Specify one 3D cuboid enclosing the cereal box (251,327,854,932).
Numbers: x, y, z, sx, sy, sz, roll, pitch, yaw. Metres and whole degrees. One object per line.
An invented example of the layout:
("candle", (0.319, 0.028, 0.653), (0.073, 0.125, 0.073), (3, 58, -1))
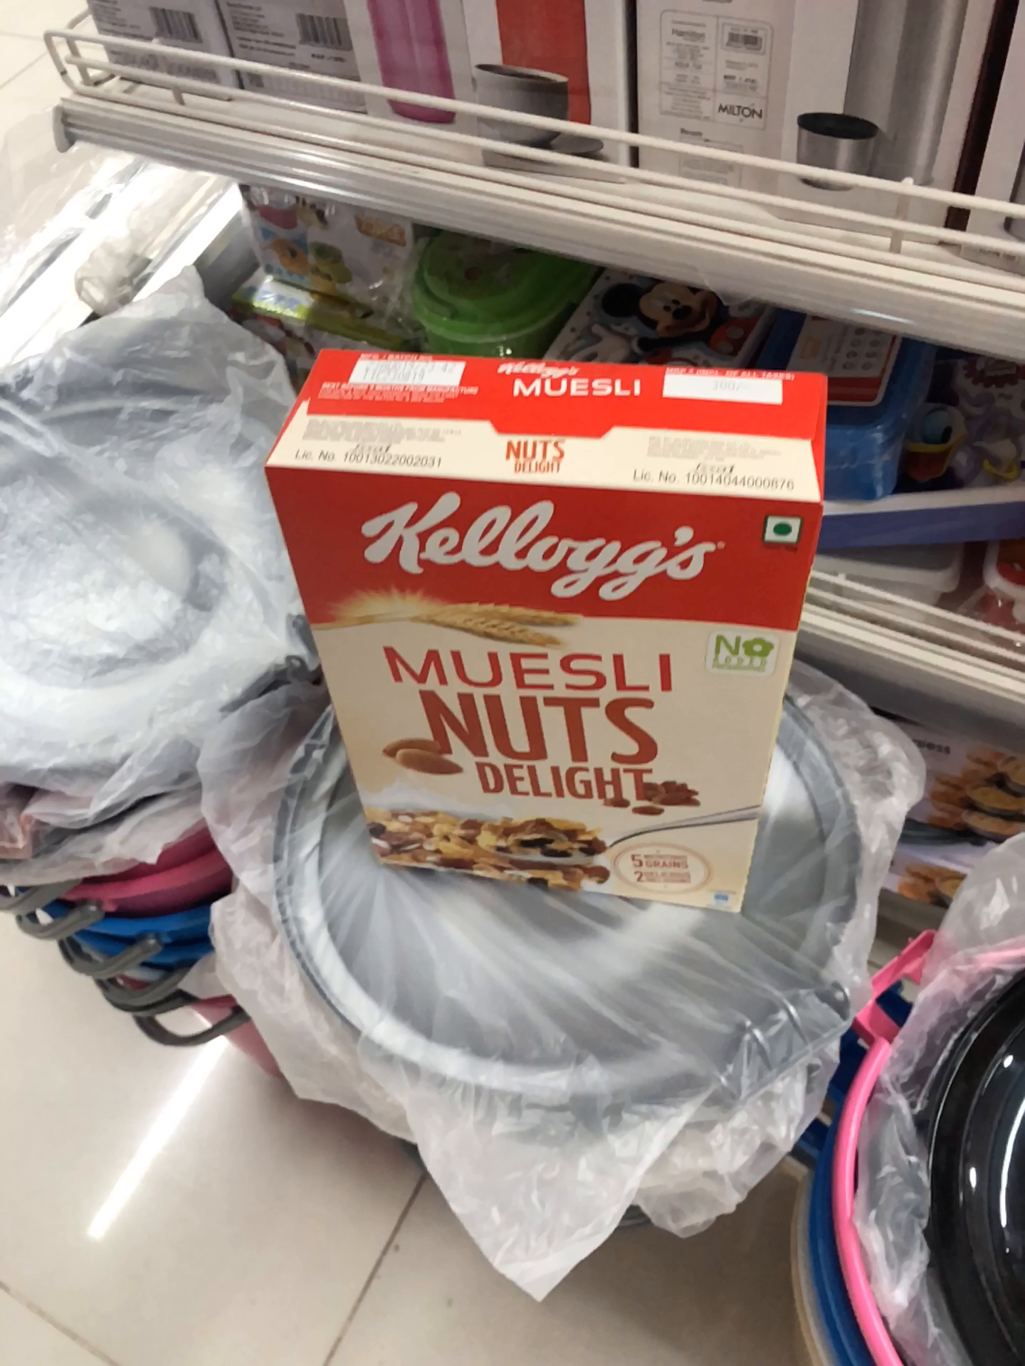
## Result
("cereal box", (0.020, -0.007, 0.476), (0.190, 0.259, 0.070), (7, 50, 9))
